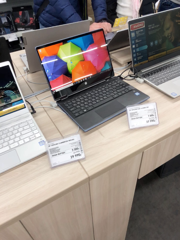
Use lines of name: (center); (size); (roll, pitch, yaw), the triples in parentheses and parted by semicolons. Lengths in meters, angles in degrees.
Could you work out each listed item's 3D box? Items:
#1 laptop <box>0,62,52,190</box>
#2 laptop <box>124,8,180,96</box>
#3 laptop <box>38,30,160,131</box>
laptop: (-0.344, -0.013, 0.644); (0.293, 0.171, 0.324); (-24, 48, -25)
laptop: (0.420, -0.338, 0.927); (0.352, 0.218, 0.330); (-24, 47, -22)
laptop: (0.024, -0.188, 0.813); (0.326, 0.194, 0.327); (-26, 48, -24)
